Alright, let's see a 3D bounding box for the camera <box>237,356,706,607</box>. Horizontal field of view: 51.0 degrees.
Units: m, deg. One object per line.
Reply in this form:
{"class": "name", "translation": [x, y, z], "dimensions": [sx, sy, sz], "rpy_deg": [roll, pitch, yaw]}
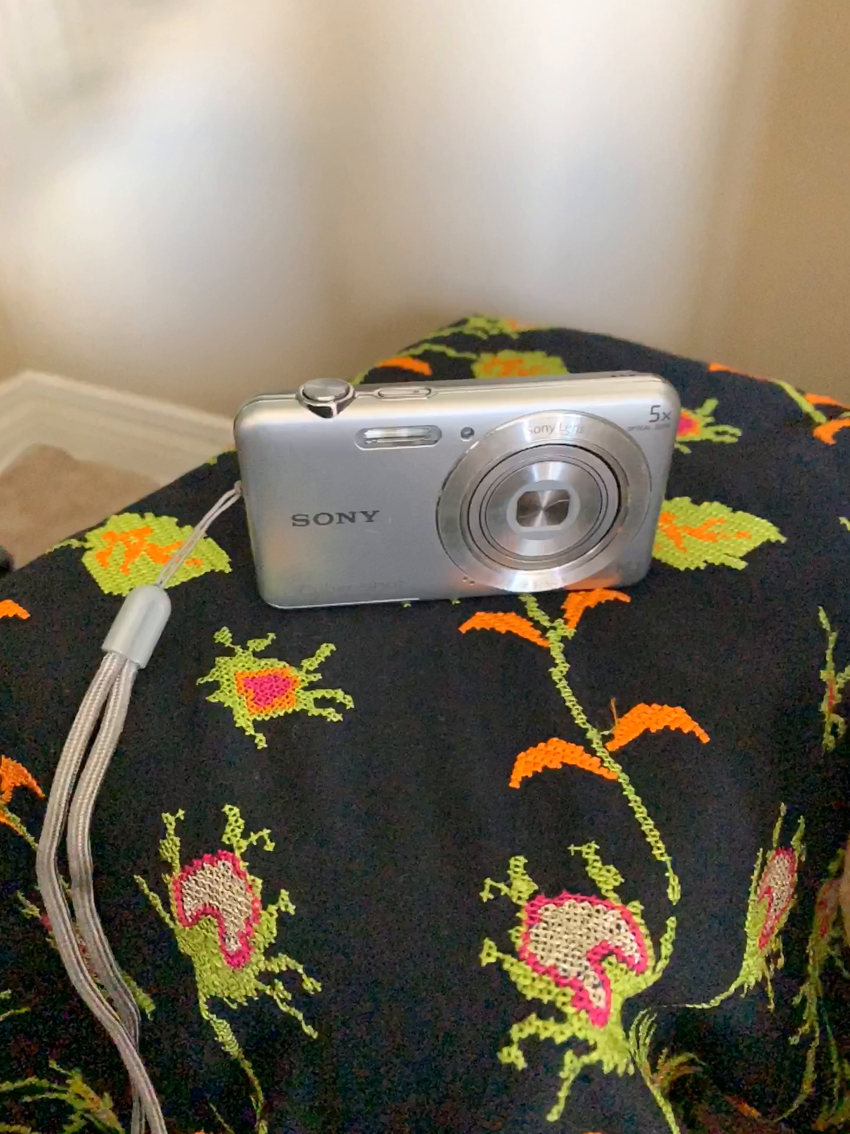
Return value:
{"class": "camera", "translation": [0.008, -0.017, 0.183], "dimensions": [0.086, 0.042, 0.020], "rpy_deg": [-4, 37, -5]}
